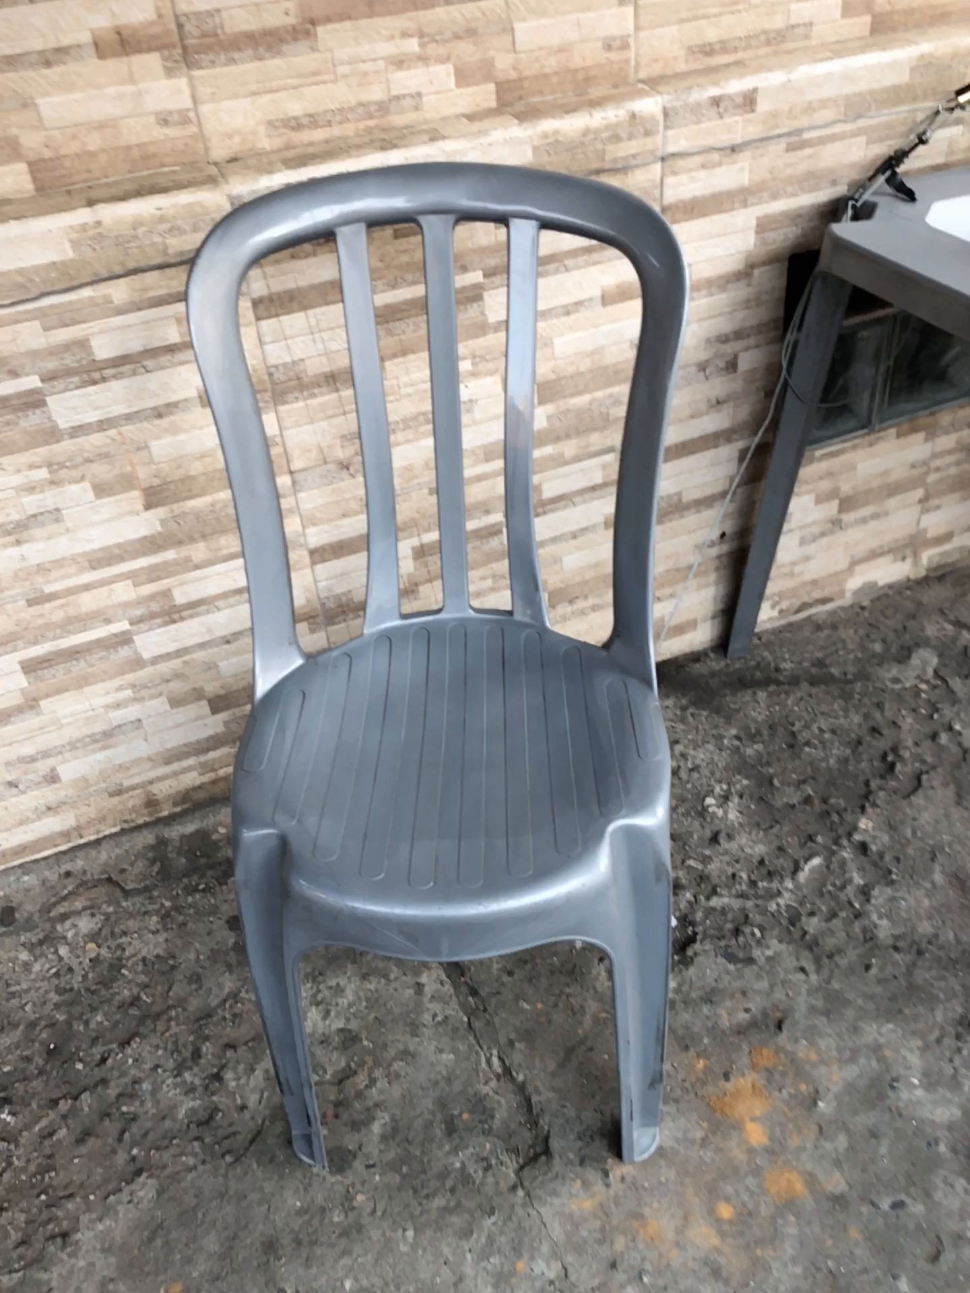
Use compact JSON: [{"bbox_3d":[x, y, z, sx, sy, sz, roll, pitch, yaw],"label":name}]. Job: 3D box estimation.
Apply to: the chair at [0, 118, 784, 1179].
[{"bbox_3d":[-0.034,0.040,0.992,0.440,0.834,0.503,-3,38,4],"label":"chair"}]
